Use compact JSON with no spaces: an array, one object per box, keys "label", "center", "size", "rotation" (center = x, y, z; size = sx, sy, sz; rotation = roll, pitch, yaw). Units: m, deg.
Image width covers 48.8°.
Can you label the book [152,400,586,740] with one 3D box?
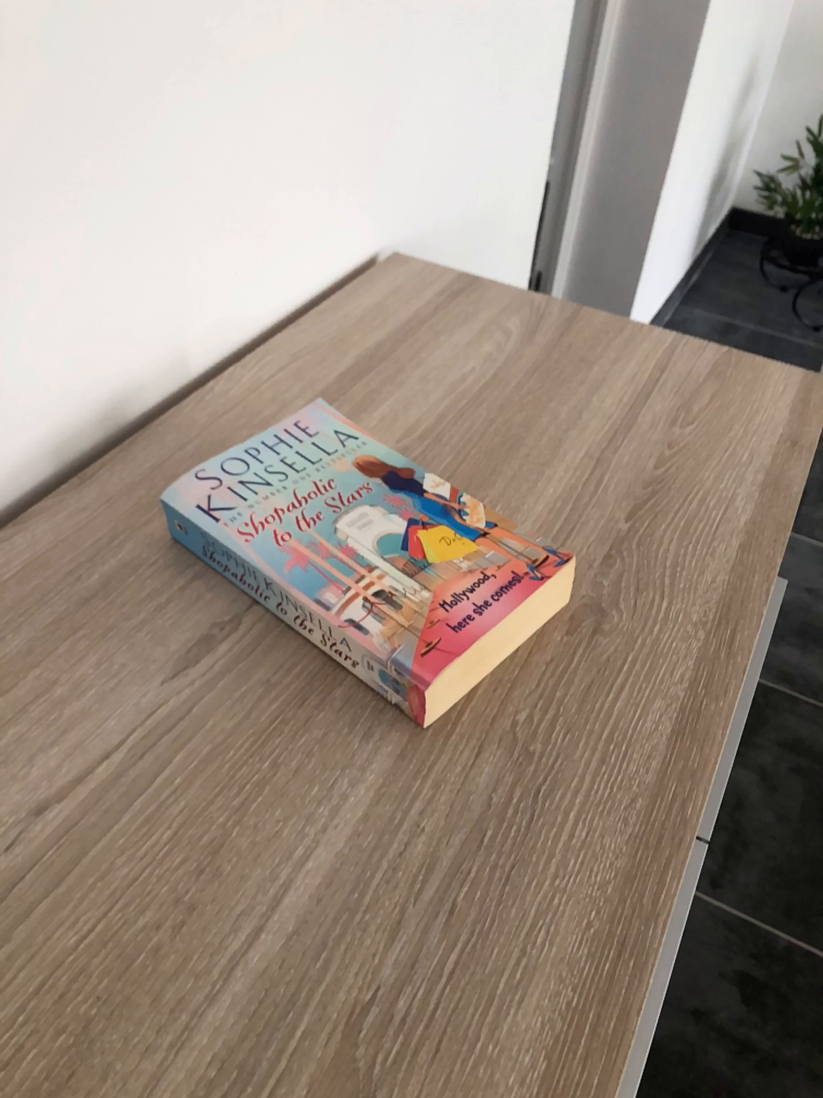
[{"label":"book","center":[-0.026,-0.002,0.504],"size":[0.200,0.040,0.131],"rotation":[32,47,27]}]
